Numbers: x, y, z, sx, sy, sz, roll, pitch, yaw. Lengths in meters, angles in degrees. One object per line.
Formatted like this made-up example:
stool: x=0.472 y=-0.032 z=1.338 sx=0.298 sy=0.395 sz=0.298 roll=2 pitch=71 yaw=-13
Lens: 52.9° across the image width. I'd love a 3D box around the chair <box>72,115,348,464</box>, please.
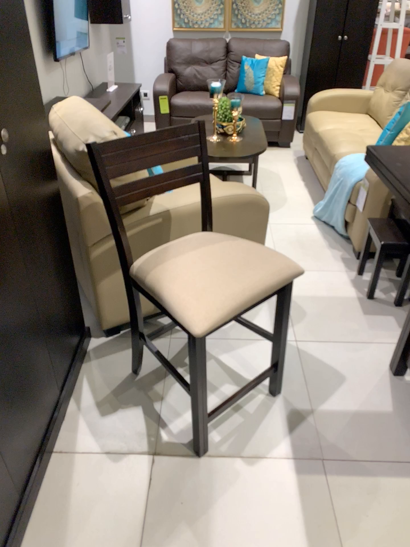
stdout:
chair: x=-0.001 y=0.023 z=1.424 sx=0.521 sy=0.916 sz=0.591 roll=-26 pitch=42 yaw=-34
